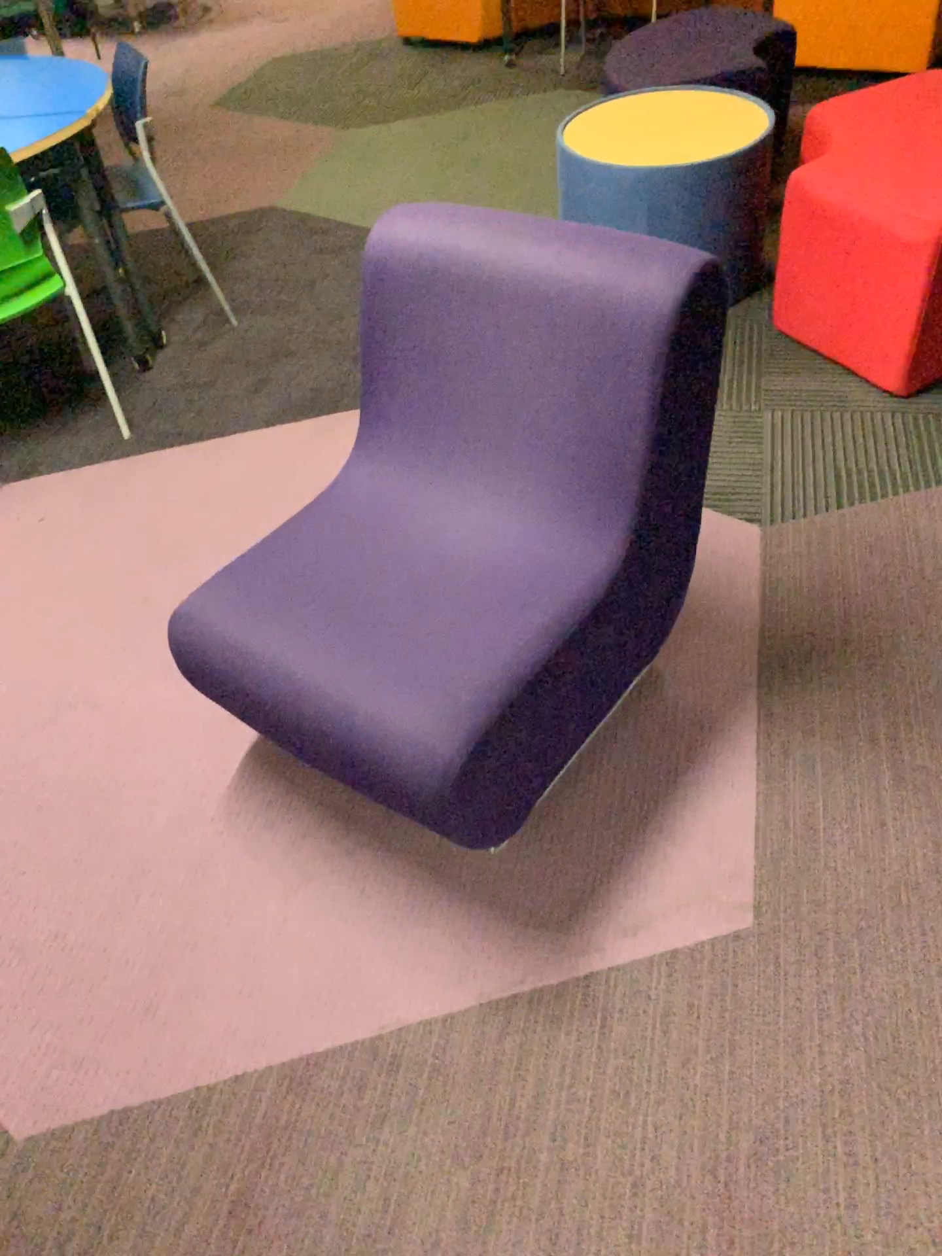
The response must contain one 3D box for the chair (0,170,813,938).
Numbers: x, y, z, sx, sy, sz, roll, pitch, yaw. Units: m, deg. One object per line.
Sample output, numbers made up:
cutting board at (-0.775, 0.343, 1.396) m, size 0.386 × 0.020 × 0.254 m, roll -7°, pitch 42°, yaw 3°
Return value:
chair at (-0.067, -0.201, 1.477) m, size 0.803 × 0.614 × 0.824 m, roll 23°, pitch 51°, yaw 29°
